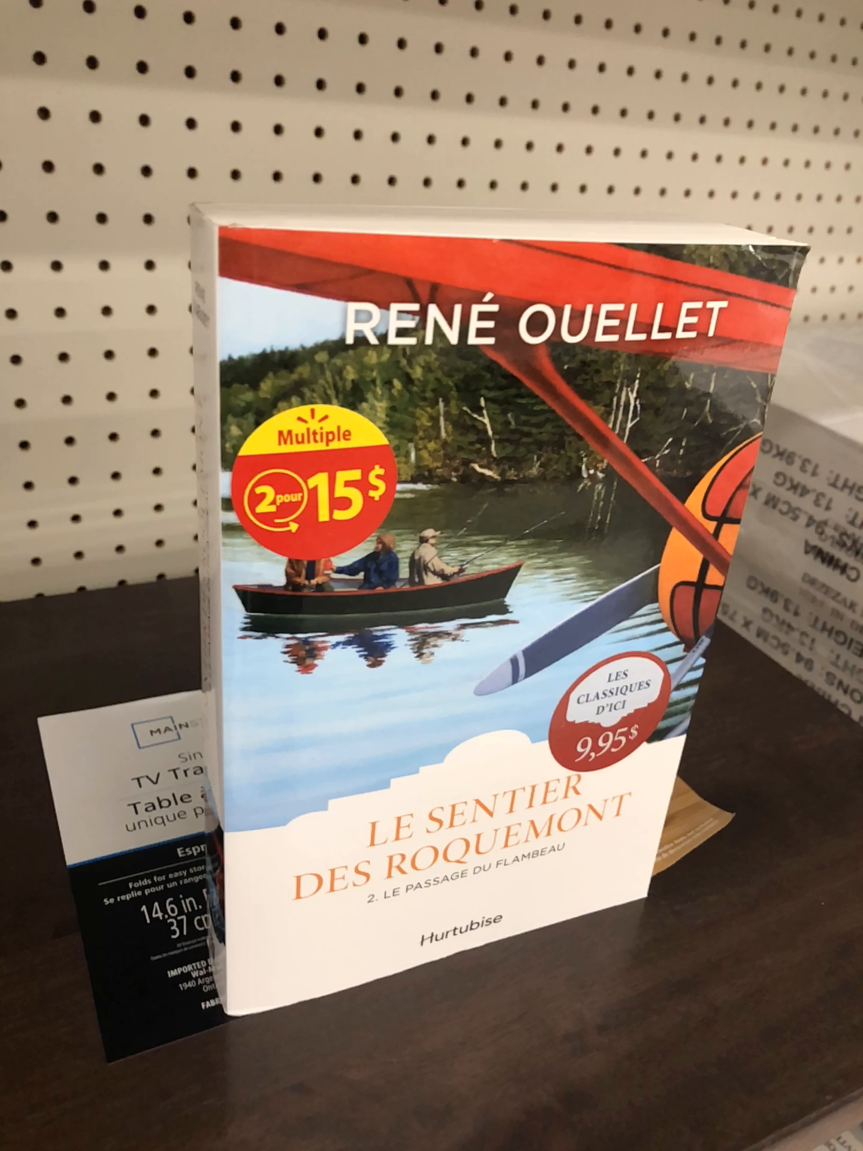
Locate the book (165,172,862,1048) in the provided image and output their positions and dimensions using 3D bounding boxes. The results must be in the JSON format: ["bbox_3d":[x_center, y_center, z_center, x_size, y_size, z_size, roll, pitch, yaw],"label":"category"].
[{"bbox_3d":[0.012,0.009,0.272,0.153,0.215,0.065,-7,28,-24],"label":"book"}]
